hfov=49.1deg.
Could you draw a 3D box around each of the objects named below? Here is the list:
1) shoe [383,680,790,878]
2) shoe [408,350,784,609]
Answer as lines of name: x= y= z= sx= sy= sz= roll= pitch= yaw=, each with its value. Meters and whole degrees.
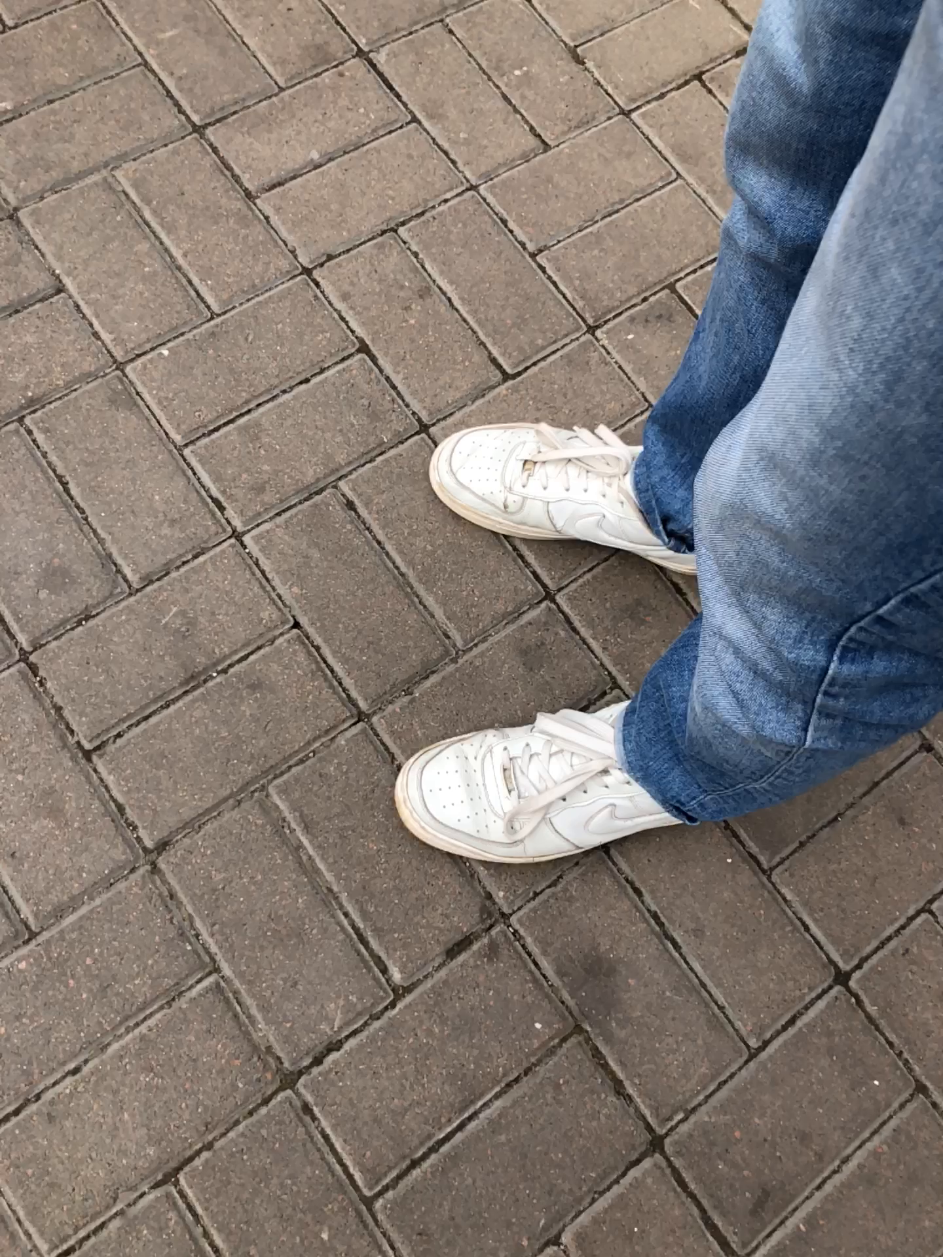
shoe: x=0.086 y=0.120 z=0.822 sx=0.300 sy=0.070 sz=0.110 roll=-6 pitch=72 yaw=-8
shoe: x=0.107 y=-0.130 z=0.908 sx=0.300 sy=0.070 sz=0.120 roll=19 pitch=70 yaw=1
